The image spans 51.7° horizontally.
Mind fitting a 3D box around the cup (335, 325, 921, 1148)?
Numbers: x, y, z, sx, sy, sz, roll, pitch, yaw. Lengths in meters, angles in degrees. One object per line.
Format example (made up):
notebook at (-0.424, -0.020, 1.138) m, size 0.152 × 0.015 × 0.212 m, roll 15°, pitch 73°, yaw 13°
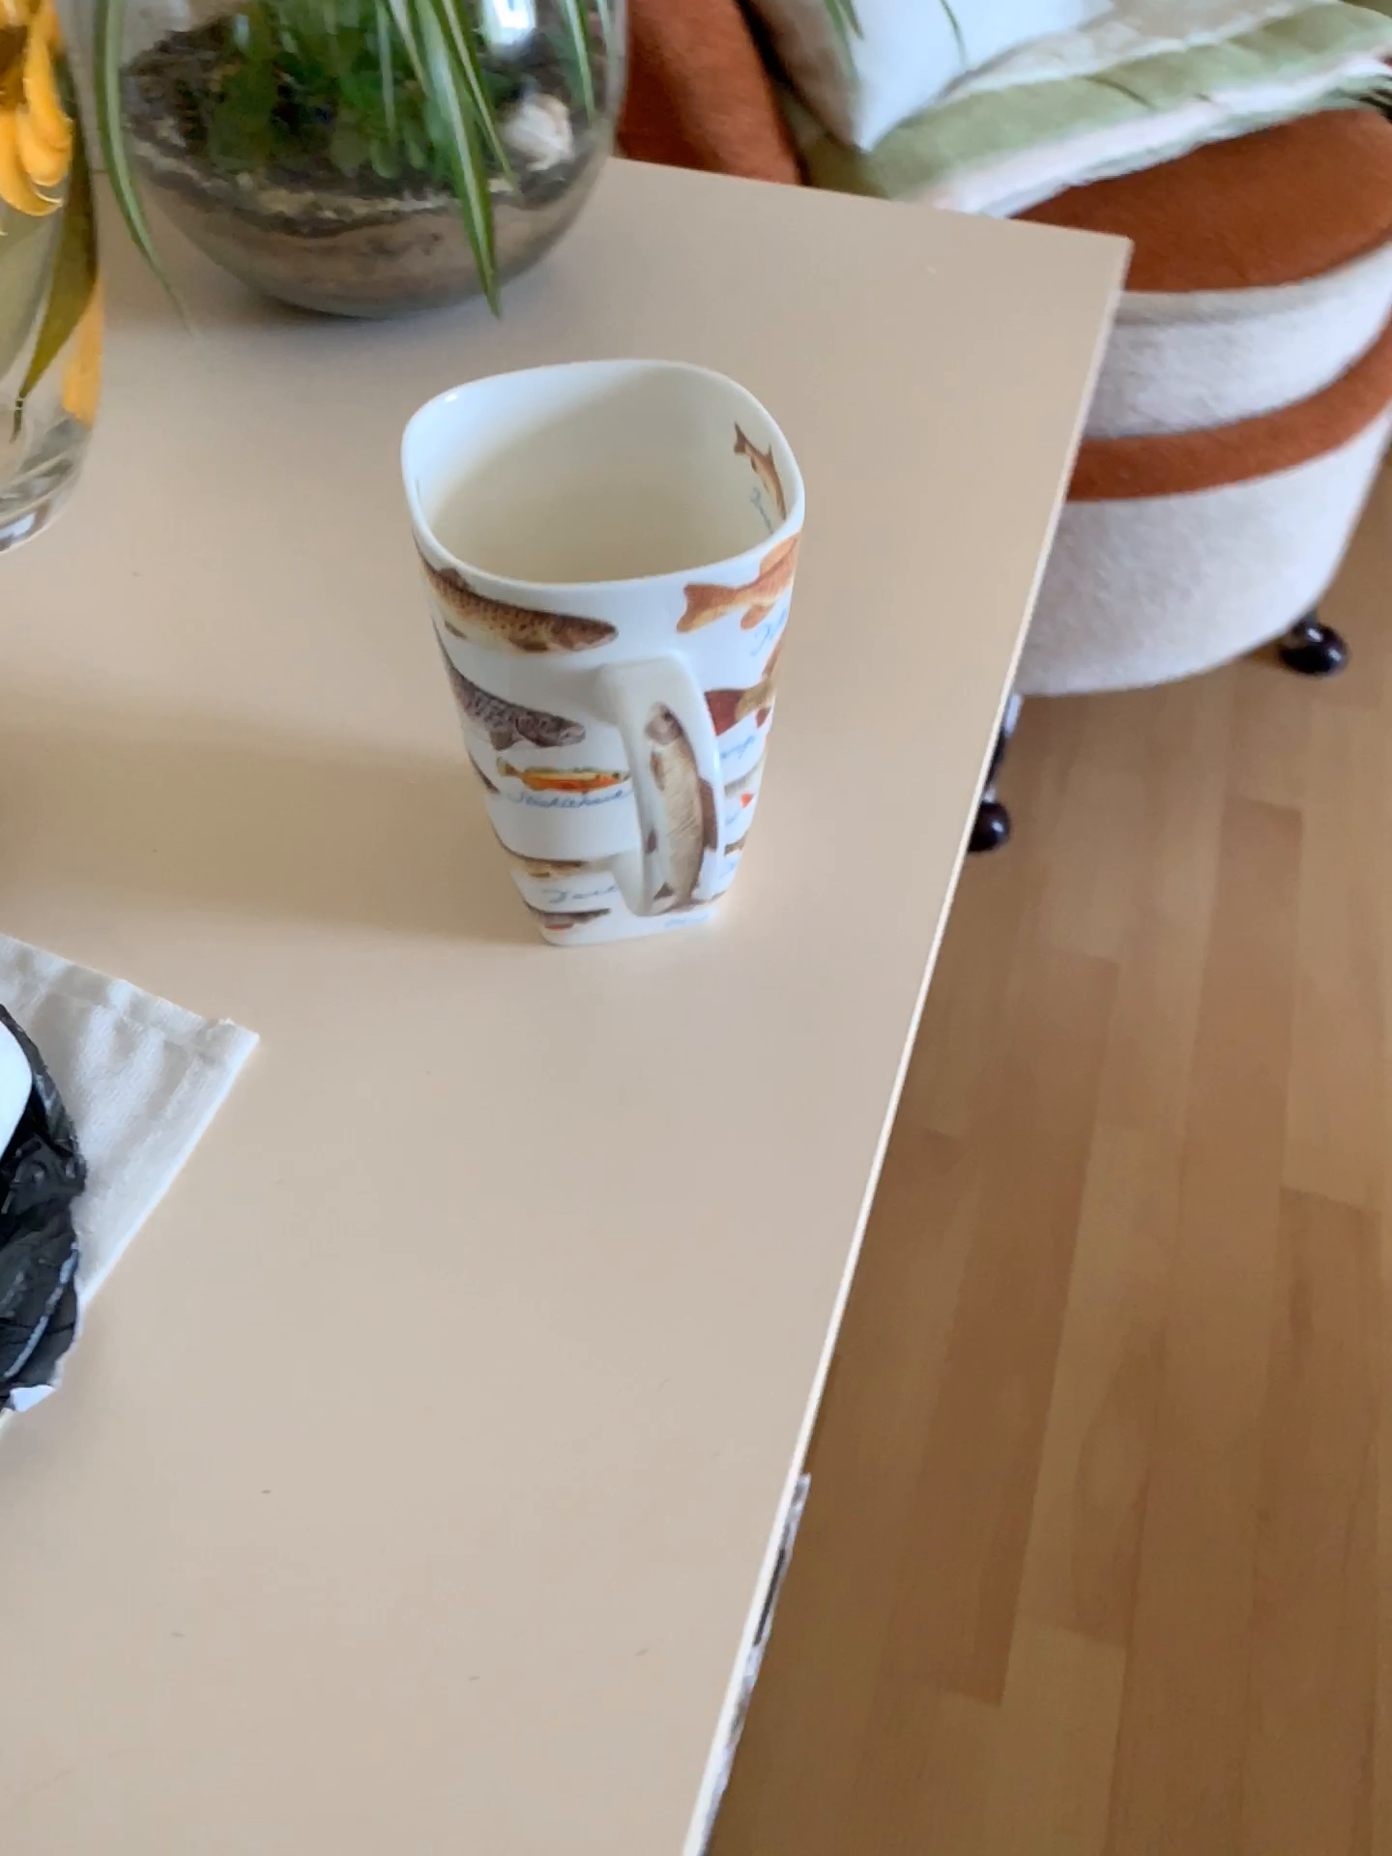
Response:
cup at (-0.023, -0.048, 0.356) m, size 0.100 × 0.129 × 0.141 m, roll -9°, pitch 50°, yaw -9°
